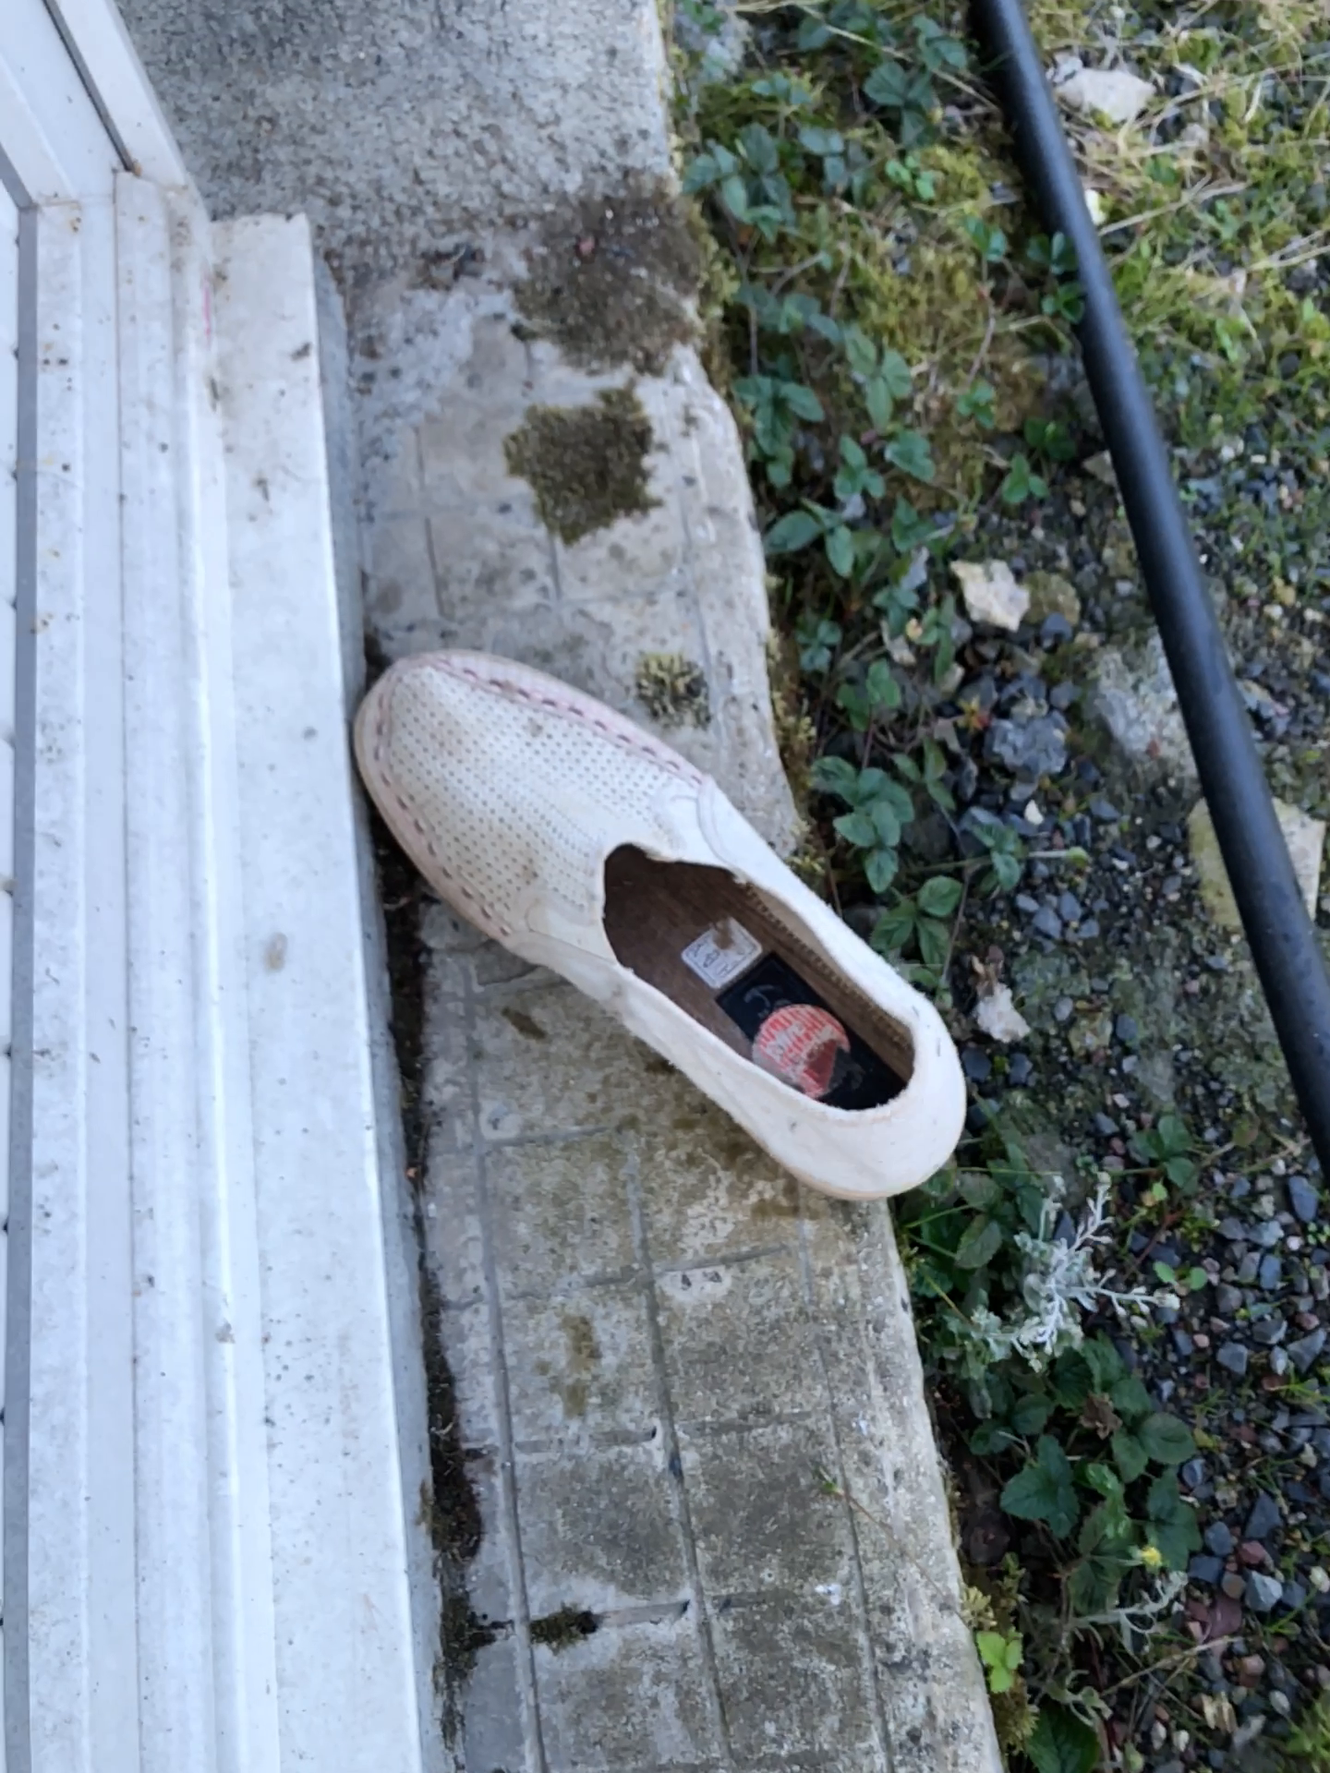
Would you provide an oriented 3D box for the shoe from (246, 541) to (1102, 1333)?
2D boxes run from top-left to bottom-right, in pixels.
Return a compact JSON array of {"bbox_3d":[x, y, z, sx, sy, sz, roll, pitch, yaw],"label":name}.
[{"bbox_3d":[-0.002,0.015,0.509,0.280,0.080,0.100,41,77,15],"label":"shoe"}]
